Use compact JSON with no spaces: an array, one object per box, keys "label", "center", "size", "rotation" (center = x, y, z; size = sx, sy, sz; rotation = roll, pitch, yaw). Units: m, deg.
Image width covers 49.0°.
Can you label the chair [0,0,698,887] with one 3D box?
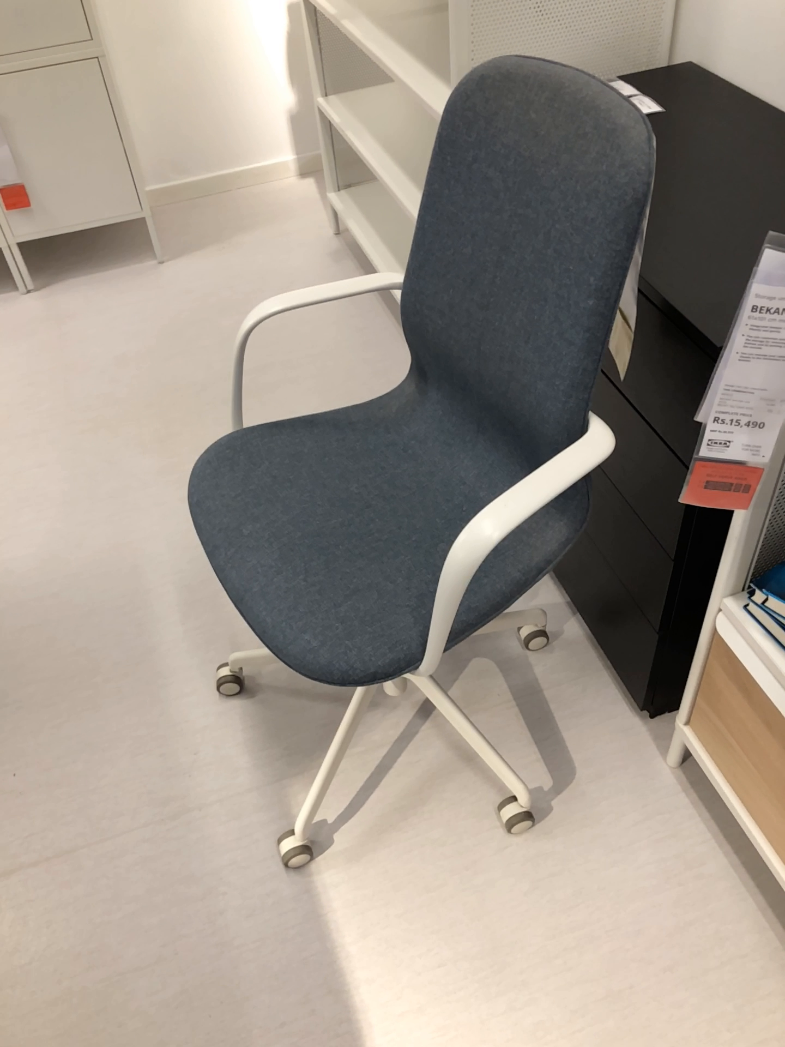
[{"label":"chair","center":[-0.058,-0.059,1.219],"size":[0.700,0.994,0.704],"rotation":[1,47,8]}]
